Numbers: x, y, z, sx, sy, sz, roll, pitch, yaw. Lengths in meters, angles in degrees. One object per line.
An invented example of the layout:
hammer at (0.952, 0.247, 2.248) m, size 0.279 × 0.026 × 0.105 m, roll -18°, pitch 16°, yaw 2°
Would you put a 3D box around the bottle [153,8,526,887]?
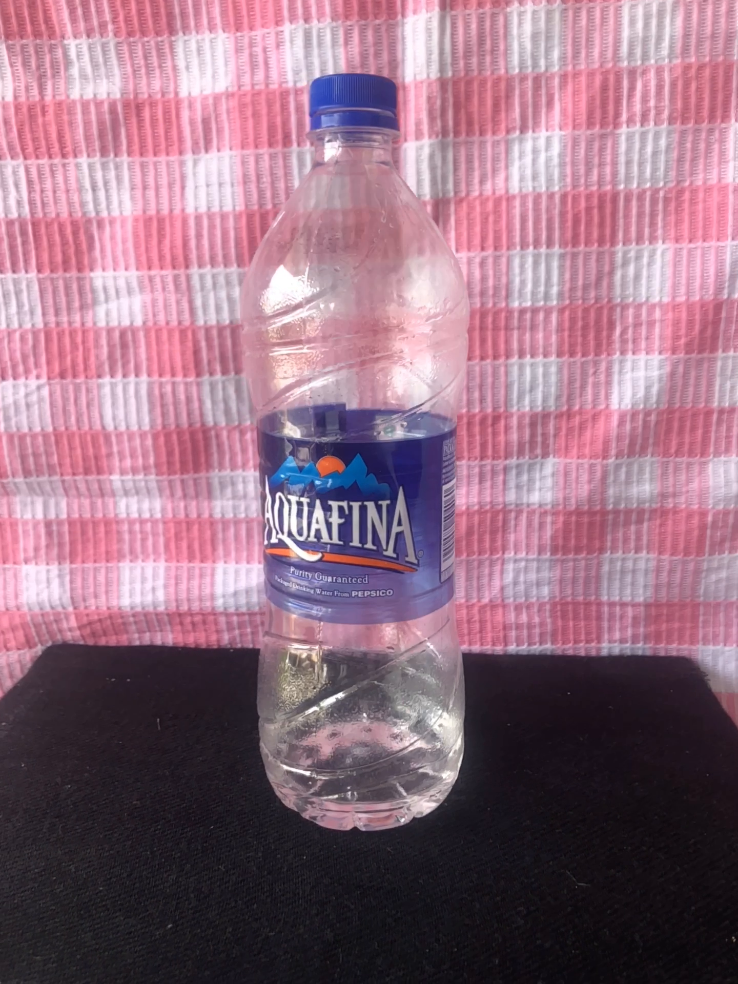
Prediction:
bottle at (-0.007, -0.008, 0.284) m, size 0.090 × 0.259 × 0.070 m, roll 9°, pitch 18°, yaw 25°
